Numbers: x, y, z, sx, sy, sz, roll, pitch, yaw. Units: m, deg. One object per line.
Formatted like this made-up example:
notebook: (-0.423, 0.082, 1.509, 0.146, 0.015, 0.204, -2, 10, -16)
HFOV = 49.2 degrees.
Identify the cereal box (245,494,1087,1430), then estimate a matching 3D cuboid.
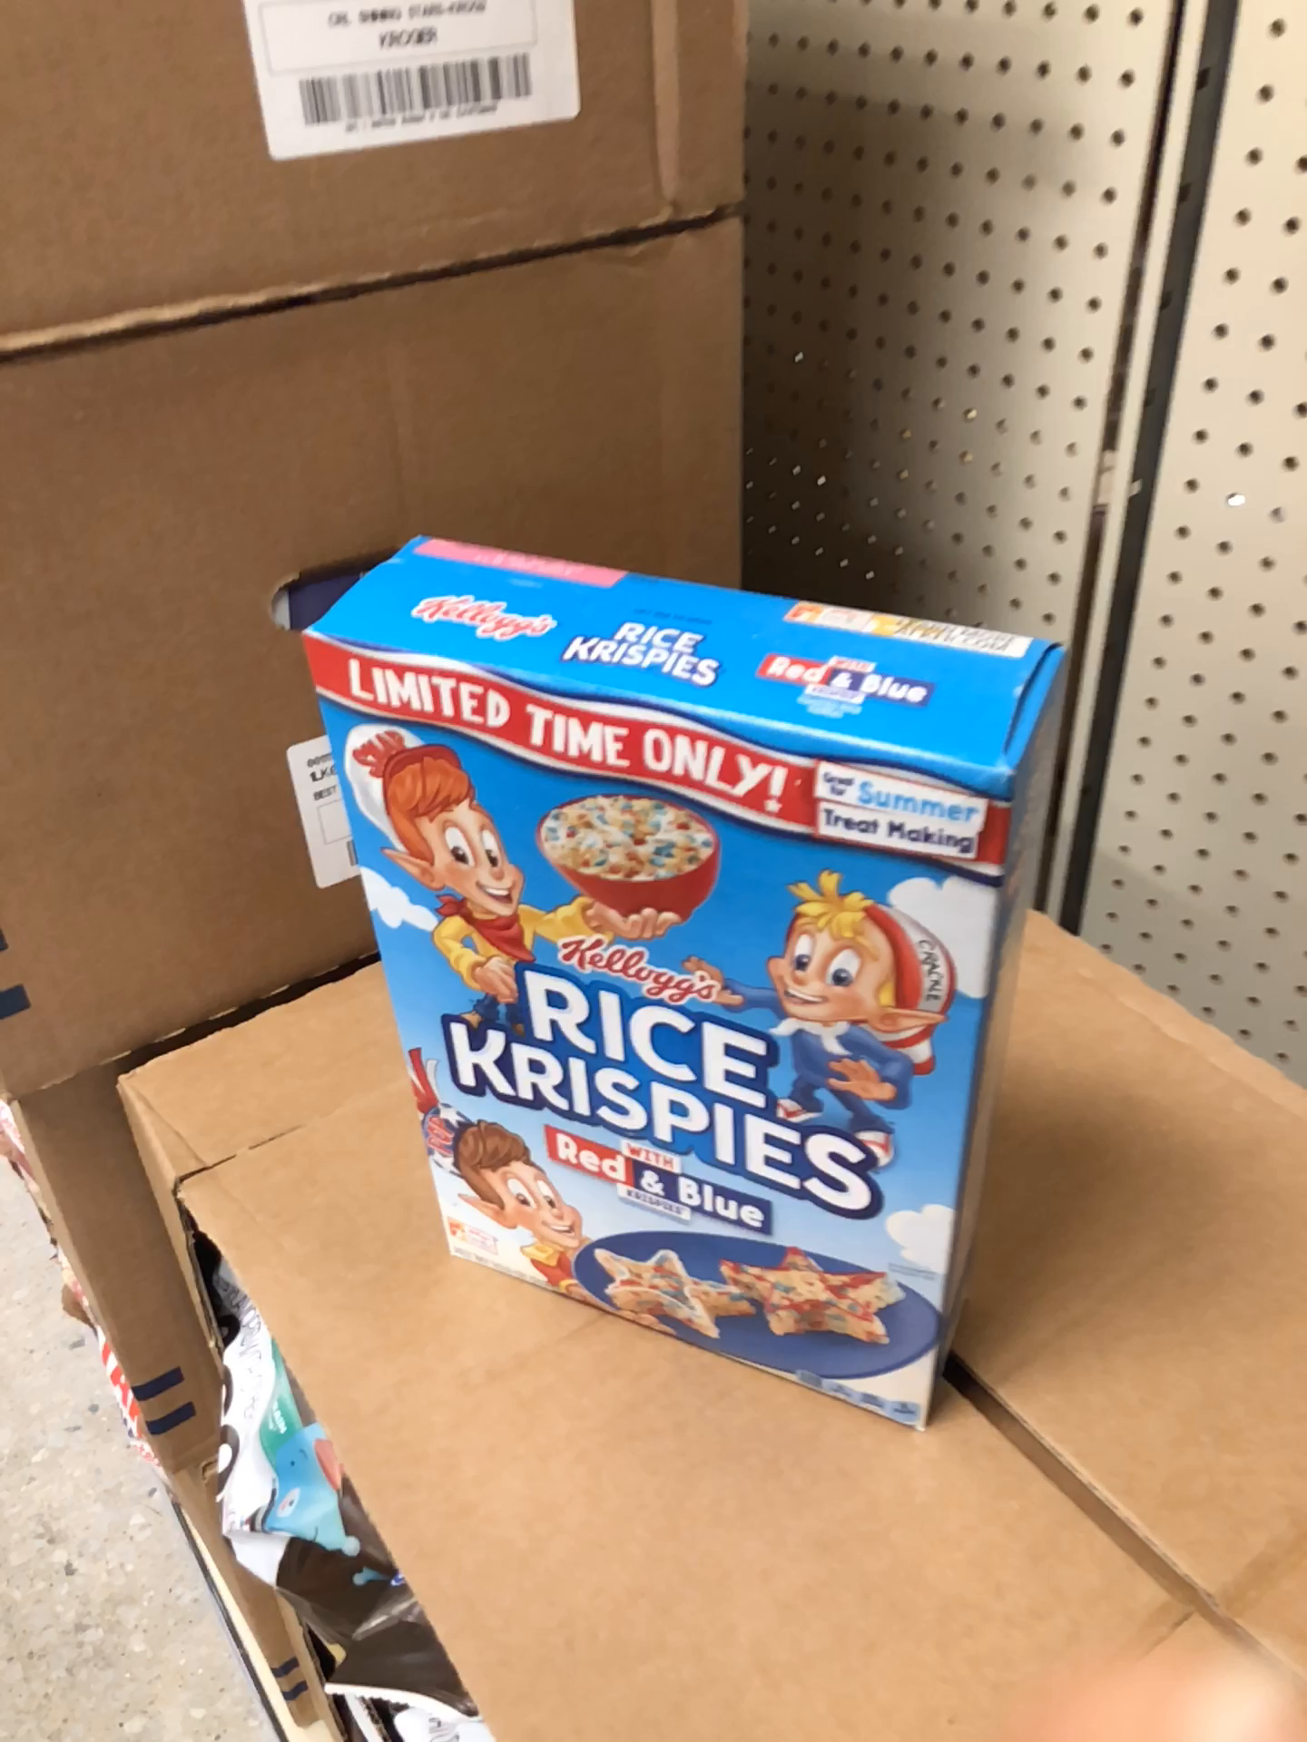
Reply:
cereal box: (0.009, 0.039, 0.440, 0.200, 0.279, 0.060, 14, 44, 22)
